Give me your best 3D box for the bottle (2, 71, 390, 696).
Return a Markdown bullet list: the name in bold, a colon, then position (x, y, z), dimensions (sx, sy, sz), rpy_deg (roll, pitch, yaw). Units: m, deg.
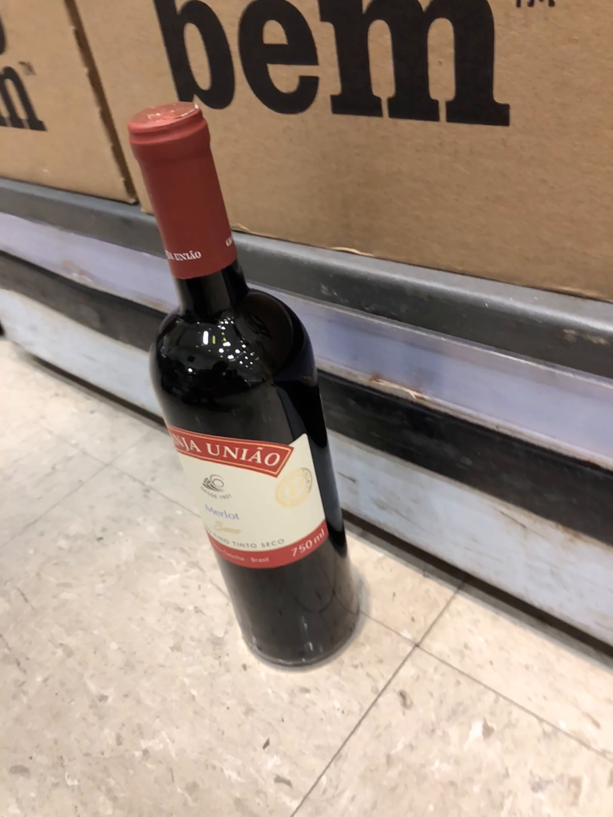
- **bottle**: position (-0.026, 0.010, 0.330), dimensions (0.080, 0.297, 0.081), rpy_deg (-8, 37, 6)
